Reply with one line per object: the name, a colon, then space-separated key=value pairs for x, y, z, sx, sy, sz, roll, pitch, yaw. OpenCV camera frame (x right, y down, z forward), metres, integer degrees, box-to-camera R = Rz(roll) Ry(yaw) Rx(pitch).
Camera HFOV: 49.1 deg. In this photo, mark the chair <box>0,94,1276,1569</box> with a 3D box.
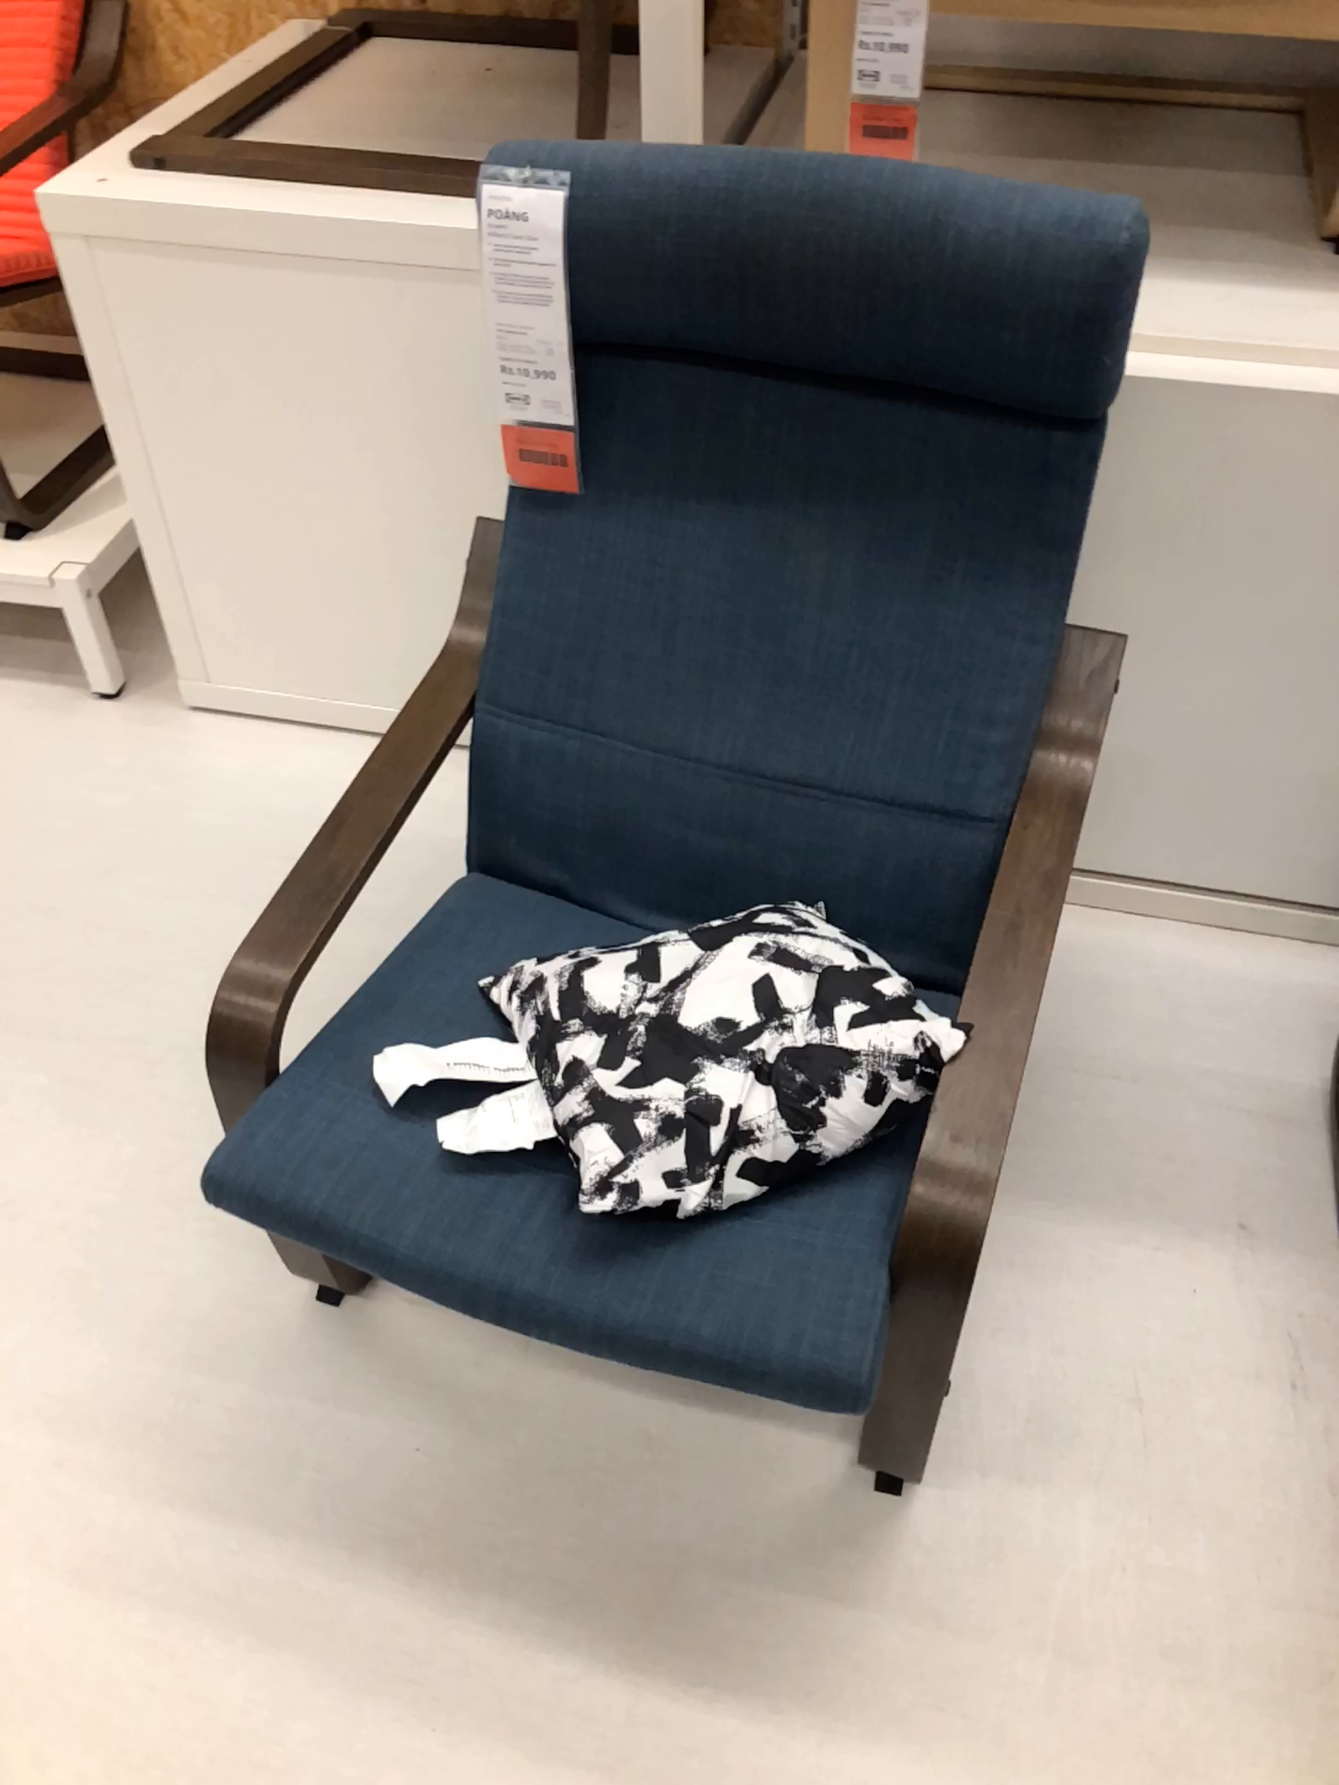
chair: x=-0.006 y=-0.063 z=1.253 sx=0.721 sy=0.884 sz=0.694 roll=14 pitch=46 yaw=15
